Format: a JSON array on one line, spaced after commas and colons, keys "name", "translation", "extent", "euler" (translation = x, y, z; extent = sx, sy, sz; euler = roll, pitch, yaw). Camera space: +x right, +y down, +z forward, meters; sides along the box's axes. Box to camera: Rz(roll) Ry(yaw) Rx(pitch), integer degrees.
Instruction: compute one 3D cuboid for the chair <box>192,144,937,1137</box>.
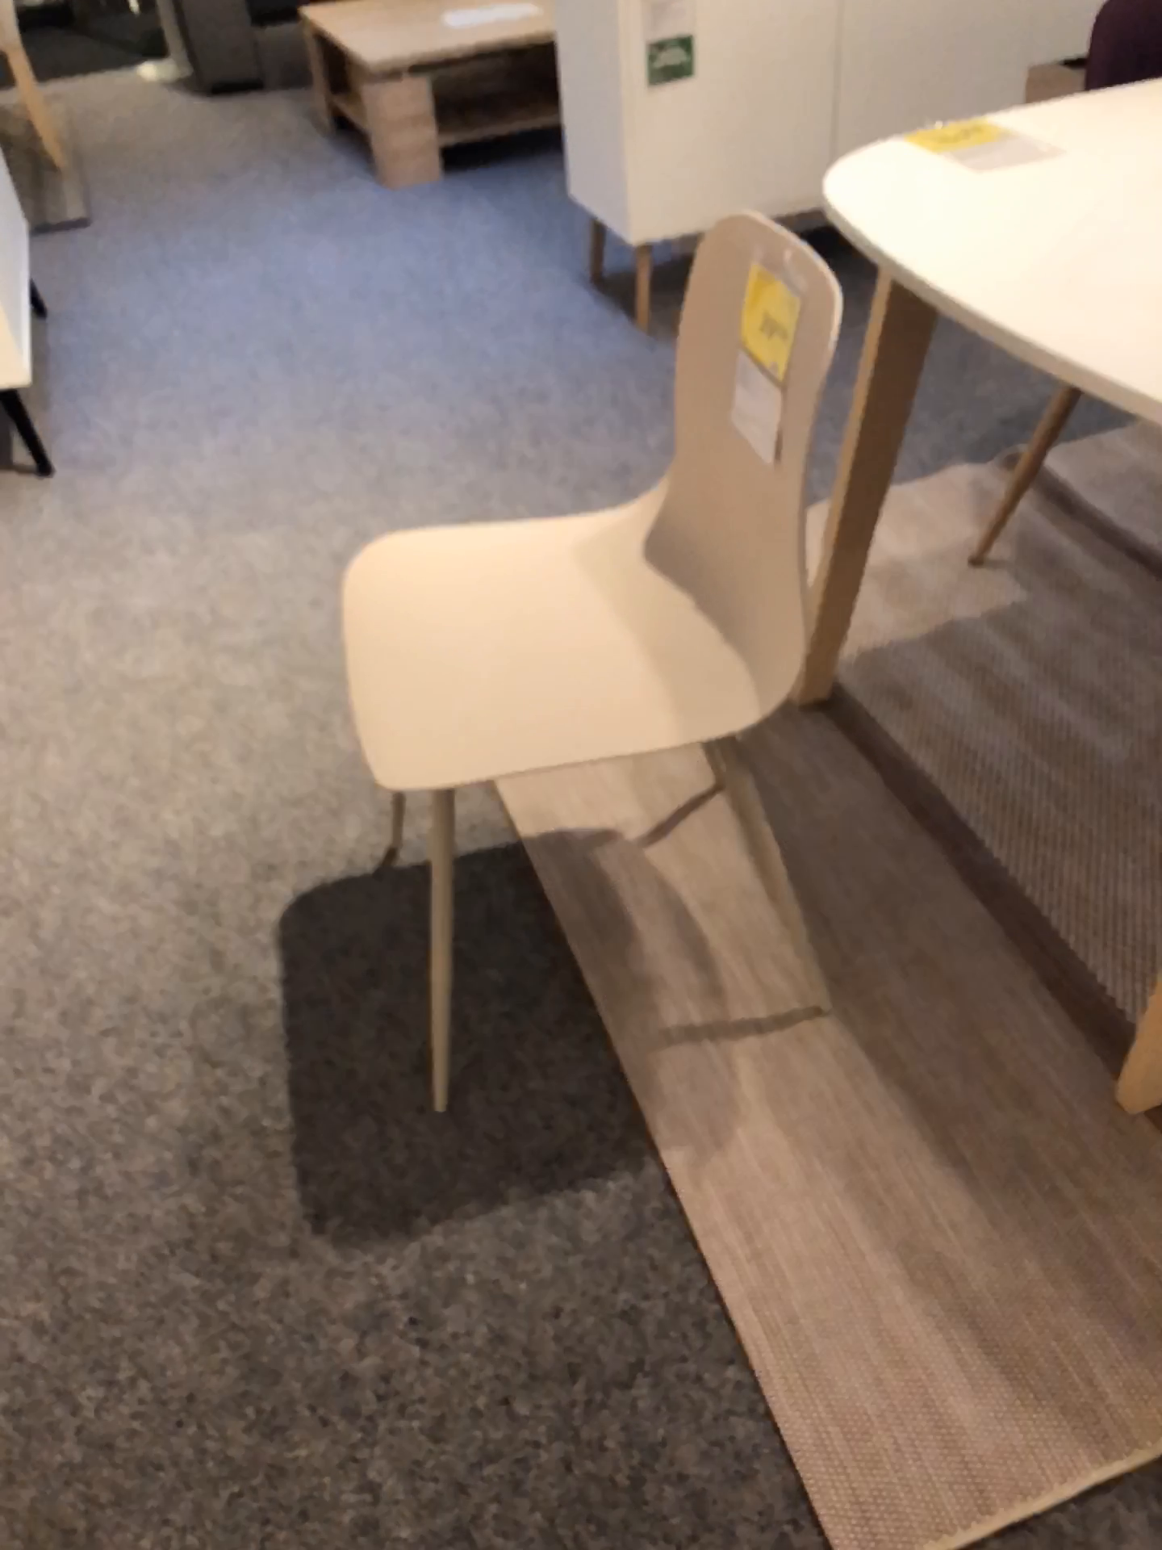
[{"name": "chair", "translation": [-0.026, -0.128, 1.308], "extent": [0.501, 0.766, 0.502], "euler": [-14, 41, -9]}]
